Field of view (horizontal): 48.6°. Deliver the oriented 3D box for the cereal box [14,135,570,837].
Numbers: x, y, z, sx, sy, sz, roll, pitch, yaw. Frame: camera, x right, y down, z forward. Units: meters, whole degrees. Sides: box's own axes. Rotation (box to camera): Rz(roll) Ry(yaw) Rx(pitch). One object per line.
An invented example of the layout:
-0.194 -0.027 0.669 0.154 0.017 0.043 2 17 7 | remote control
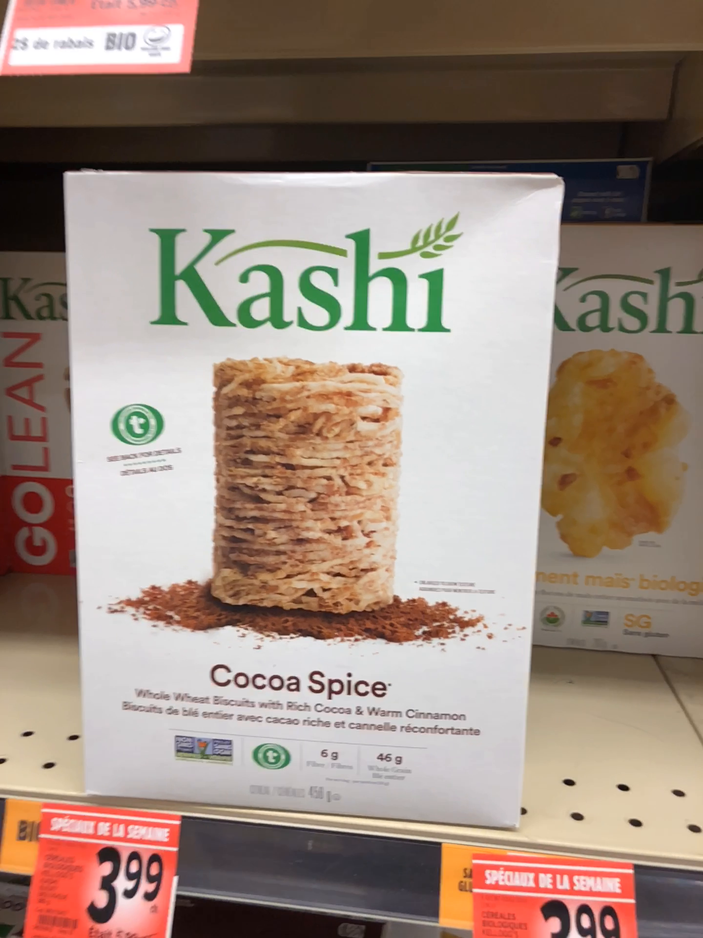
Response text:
-0.025 0.008 0.343 0.210 0.279 0.060 2 10 6 | cereal box
